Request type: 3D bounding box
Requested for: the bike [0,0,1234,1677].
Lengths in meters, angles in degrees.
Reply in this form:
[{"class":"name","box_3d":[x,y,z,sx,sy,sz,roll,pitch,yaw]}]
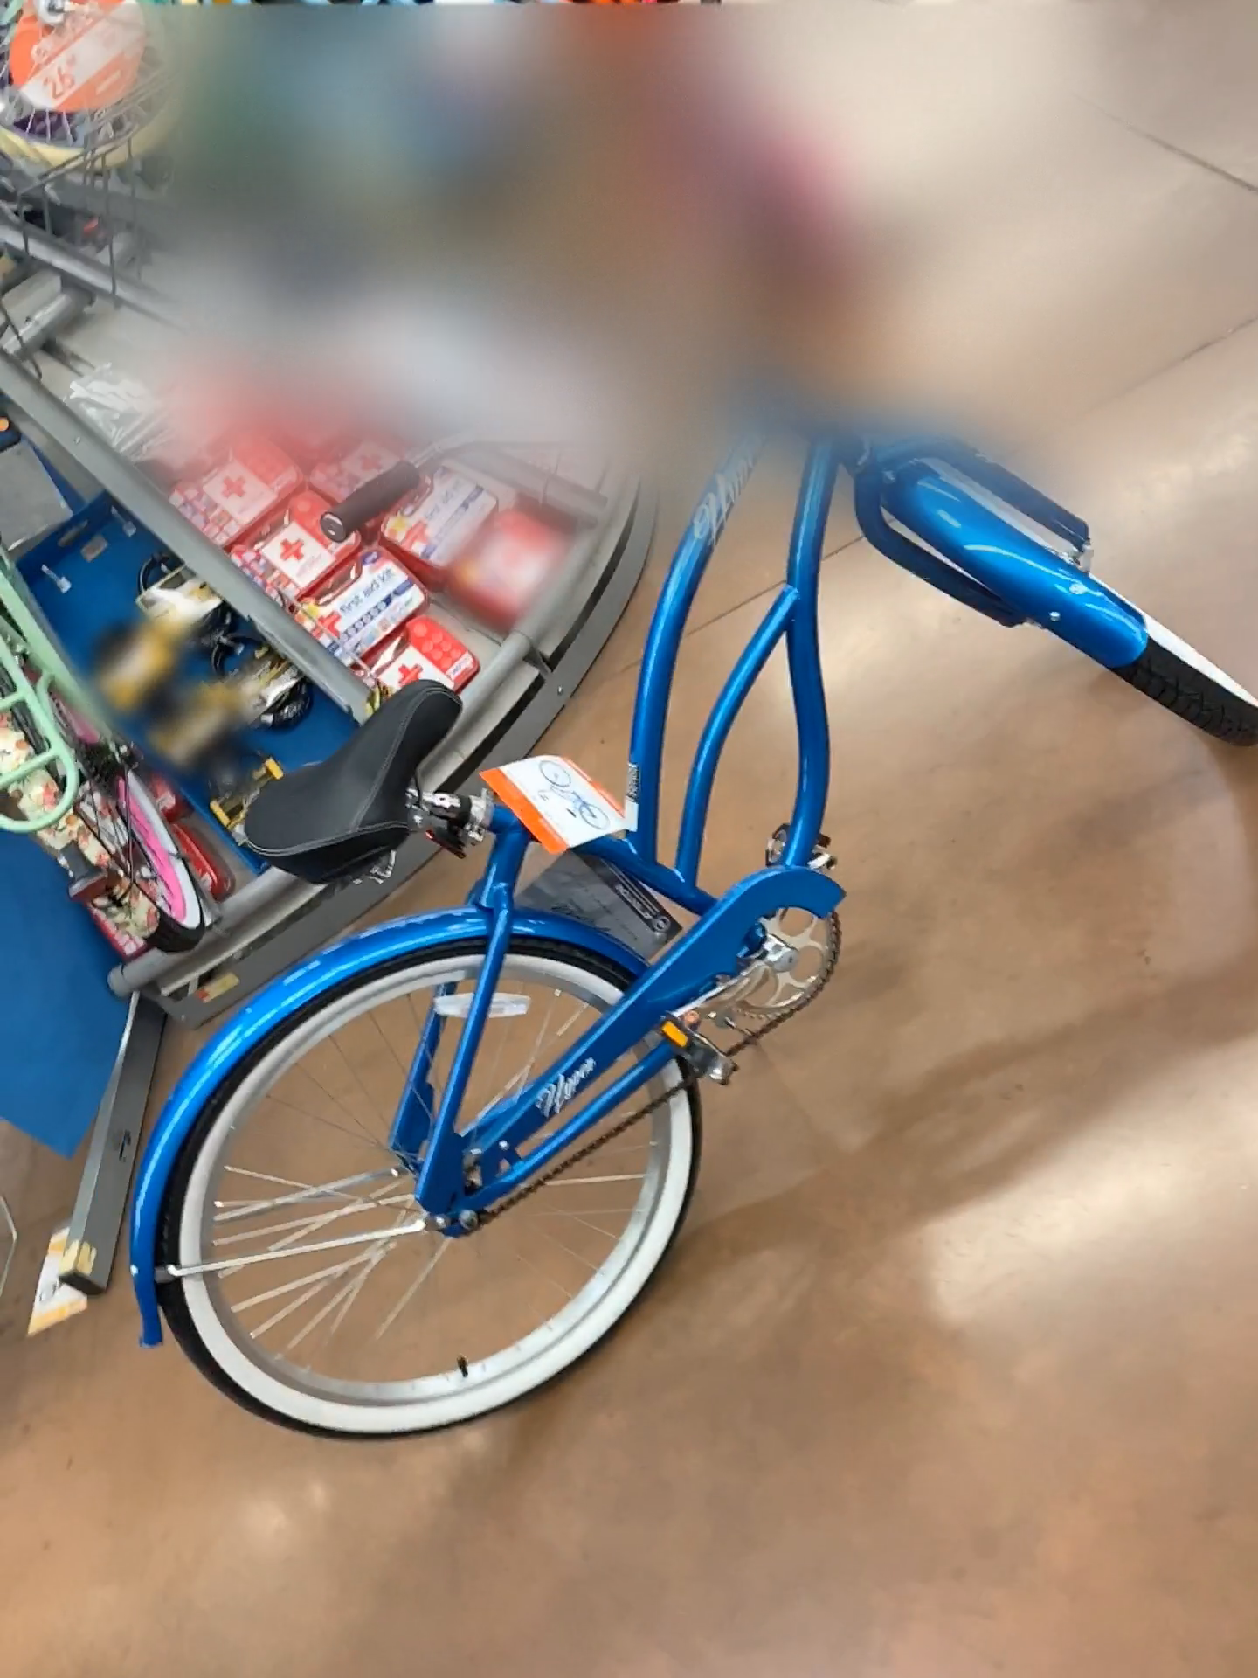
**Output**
[{"class":"bike","box_3d":[-0.139,-0.139,1.509,0.878,1.207,1.529,21,64,48]}]
